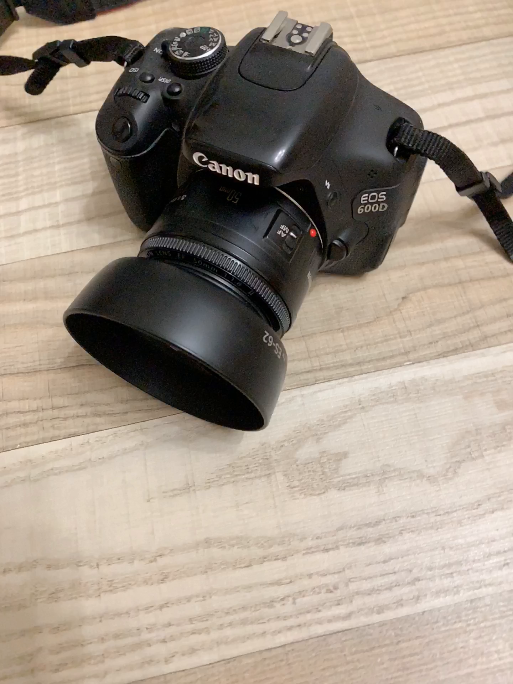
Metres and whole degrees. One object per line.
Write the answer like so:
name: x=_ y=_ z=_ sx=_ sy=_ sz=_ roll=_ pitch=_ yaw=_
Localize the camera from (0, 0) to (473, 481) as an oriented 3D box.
camera: x=-0.017 y=-0.051 z=0.217 sx=0.139 sy=0.090 sz=0.150 roll=23 pitch=69 yaw=12
